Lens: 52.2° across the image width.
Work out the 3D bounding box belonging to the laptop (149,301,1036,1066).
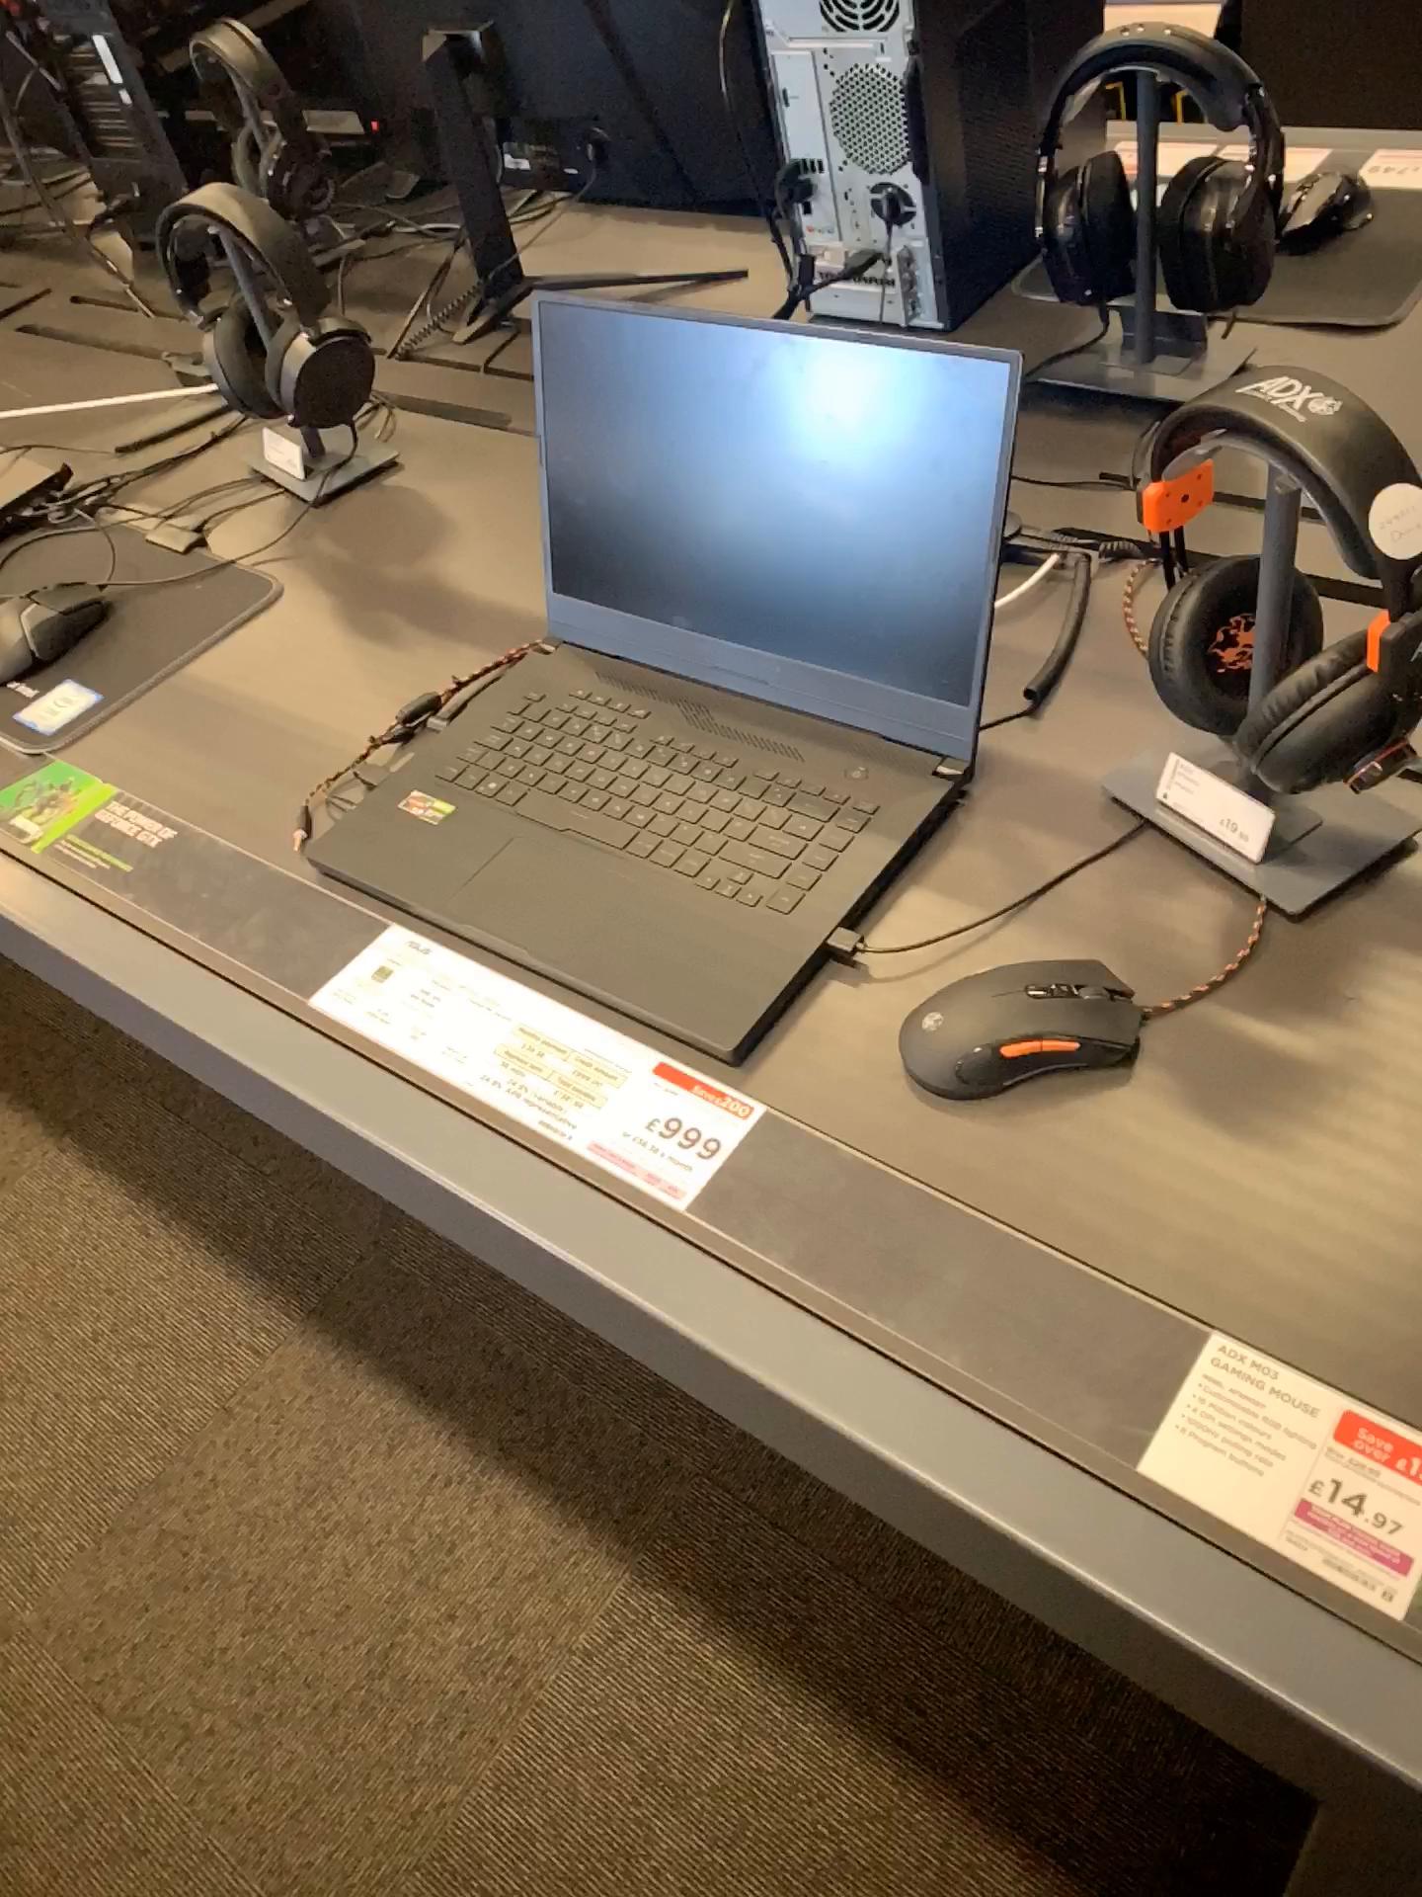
[{"bbox_3d":[-0.052,-0.177,0.843,0.349,0.204,0.324,23,58,31],"label":"laptop"}]
